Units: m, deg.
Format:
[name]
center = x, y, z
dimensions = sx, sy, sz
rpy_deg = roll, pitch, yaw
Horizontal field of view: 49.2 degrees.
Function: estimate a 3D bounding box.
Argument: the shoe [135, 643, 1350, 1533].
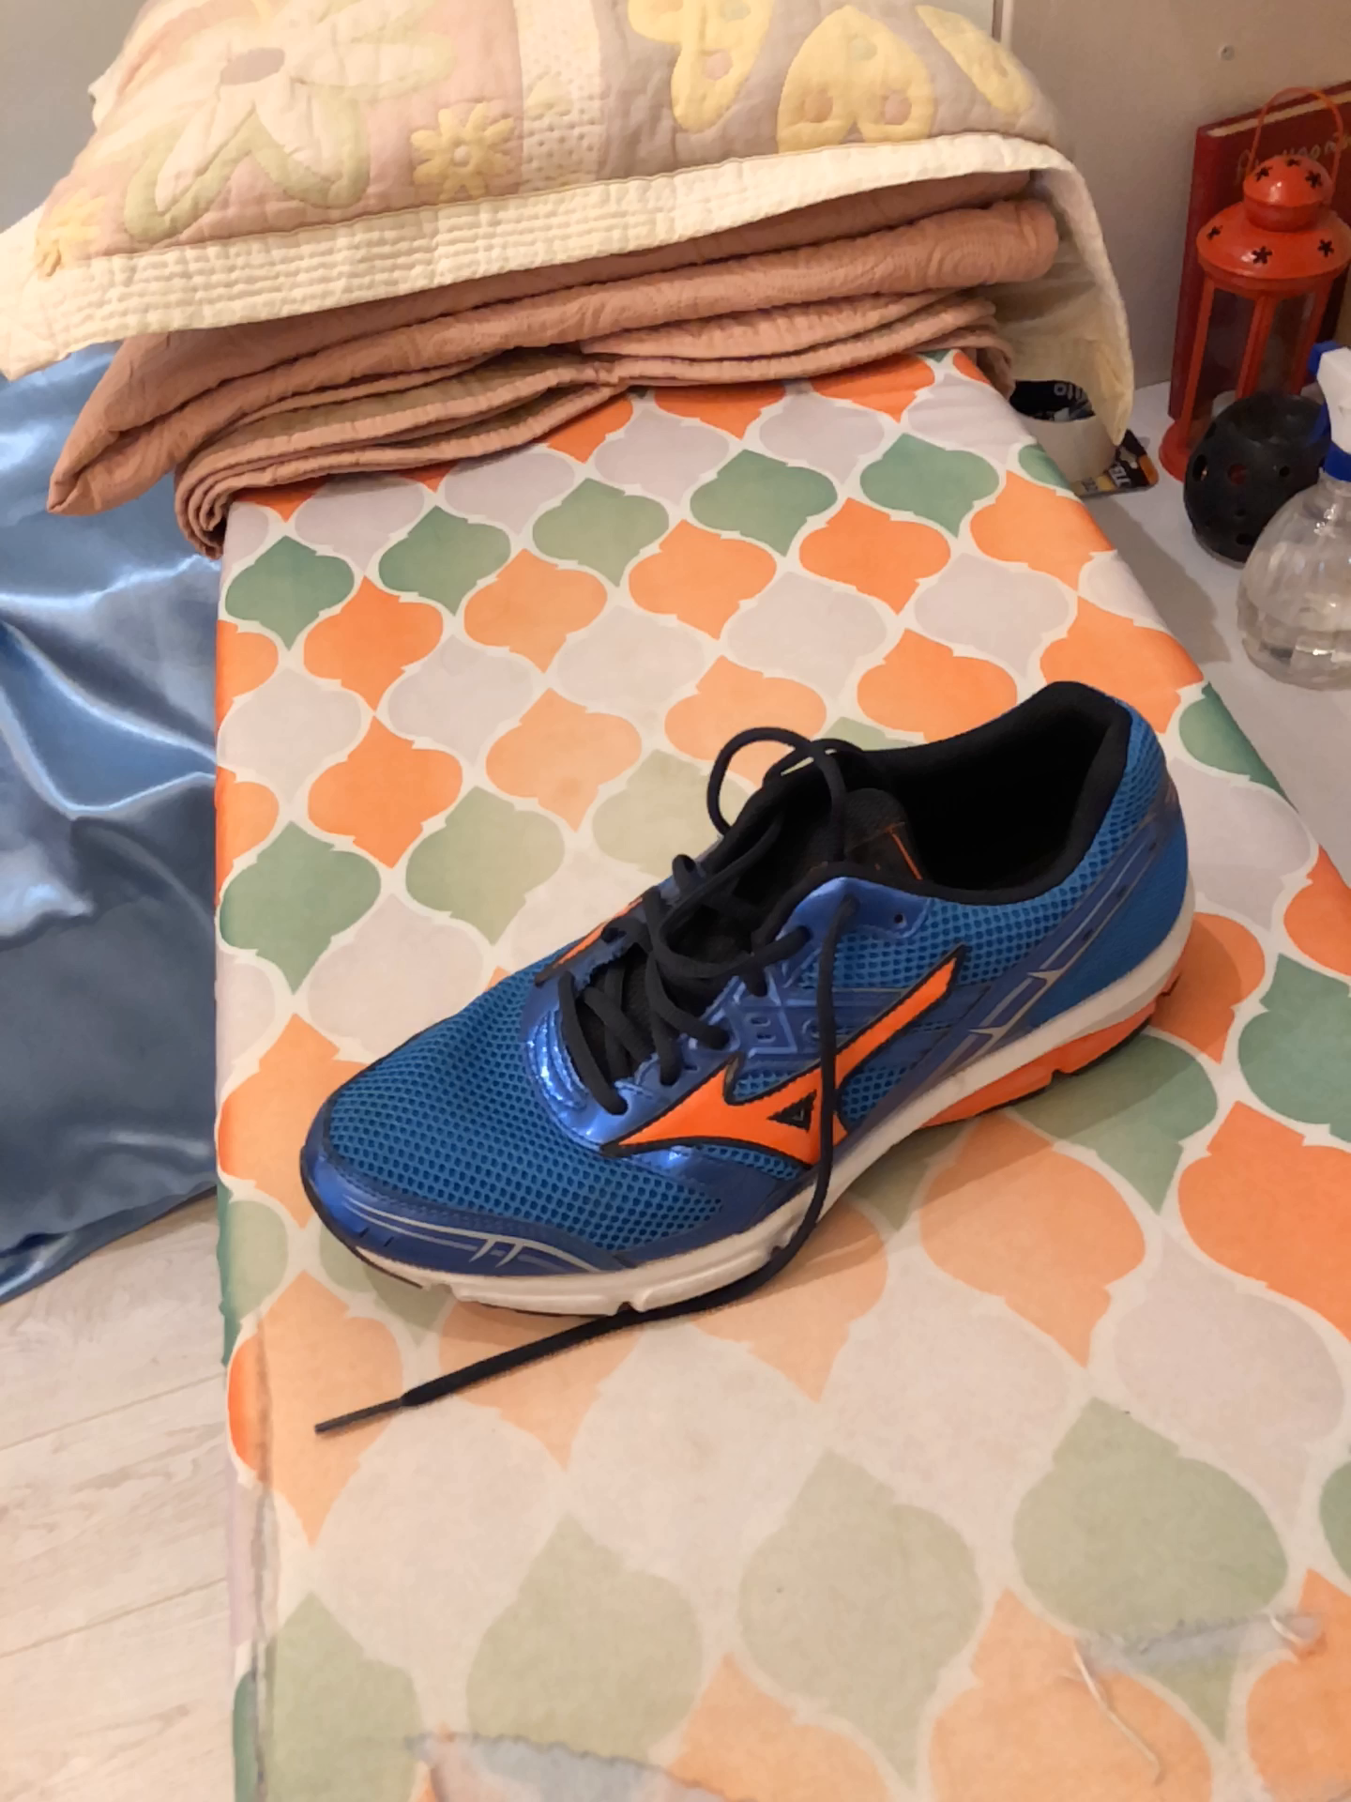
[shoe]
center = 0.020, 0.049, 0.443
dimensions = 0.310, 0.109, 0.121
rpy_deg = -21, 50, -10
